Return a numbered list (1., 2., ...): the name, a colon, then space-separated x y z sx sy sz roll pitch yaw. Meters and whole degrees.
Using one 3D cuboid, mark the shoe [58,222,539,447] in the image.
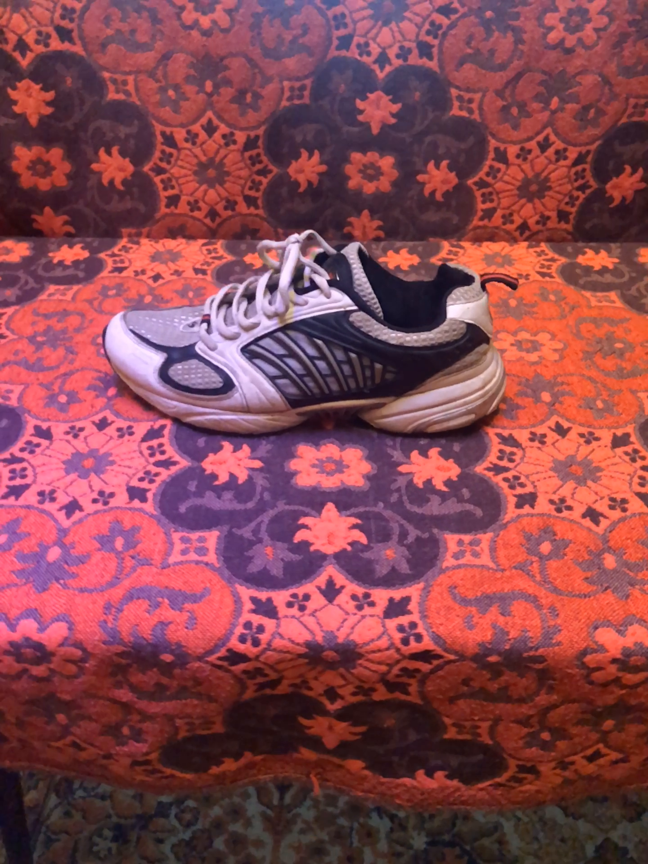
1. shoe: -0.015 -0.074 0.528 0.300 0.109 0.121 2 39 1
